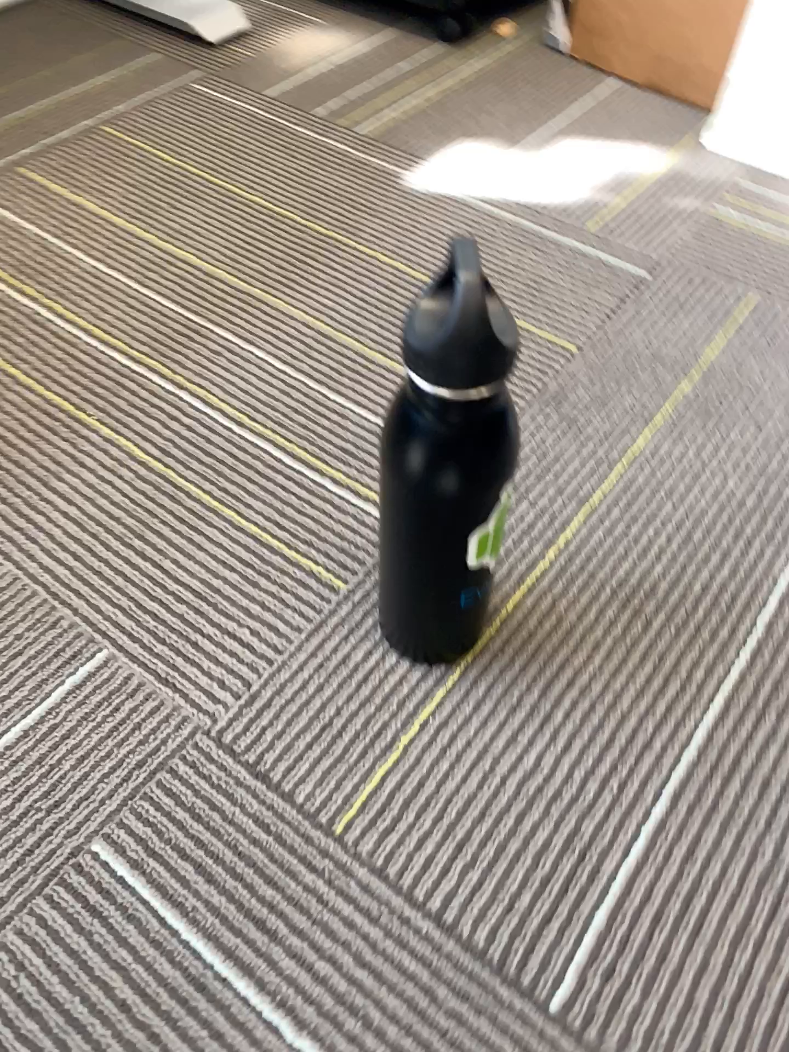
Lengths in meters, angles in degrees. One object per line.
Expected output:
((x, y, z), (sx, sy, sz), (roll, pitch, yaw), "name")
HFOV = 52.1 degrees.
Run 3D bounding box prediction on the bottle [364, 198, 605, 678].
((0.035, -0.027, 0.414), (0.080, 0.239, 0.090), (13, 53, 8), "bottle")
